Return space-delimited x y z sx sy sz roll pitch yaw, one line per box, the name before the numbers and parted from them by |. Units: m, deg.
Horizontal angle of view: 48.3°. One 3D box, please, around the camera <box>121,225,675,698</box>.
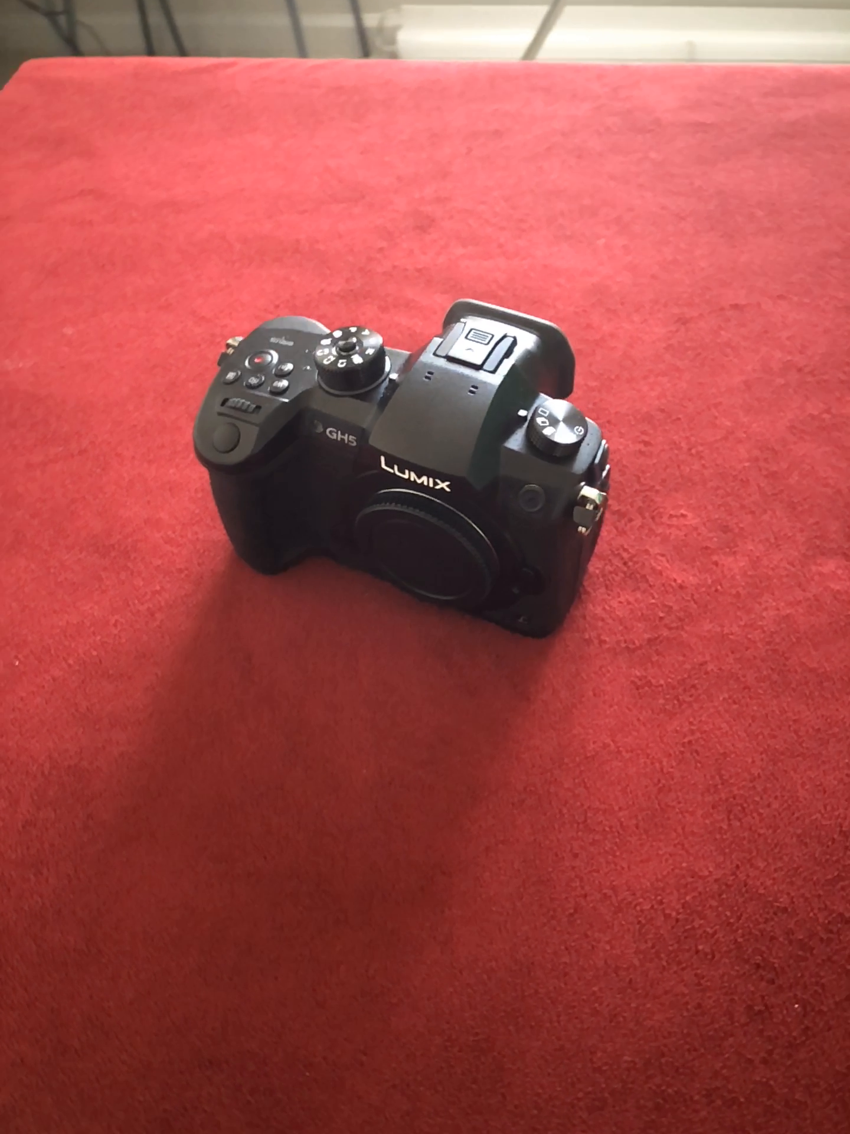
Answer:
camera | -0.007 -0.039 0.327 0.148 0.087 0.086 21 58 18
